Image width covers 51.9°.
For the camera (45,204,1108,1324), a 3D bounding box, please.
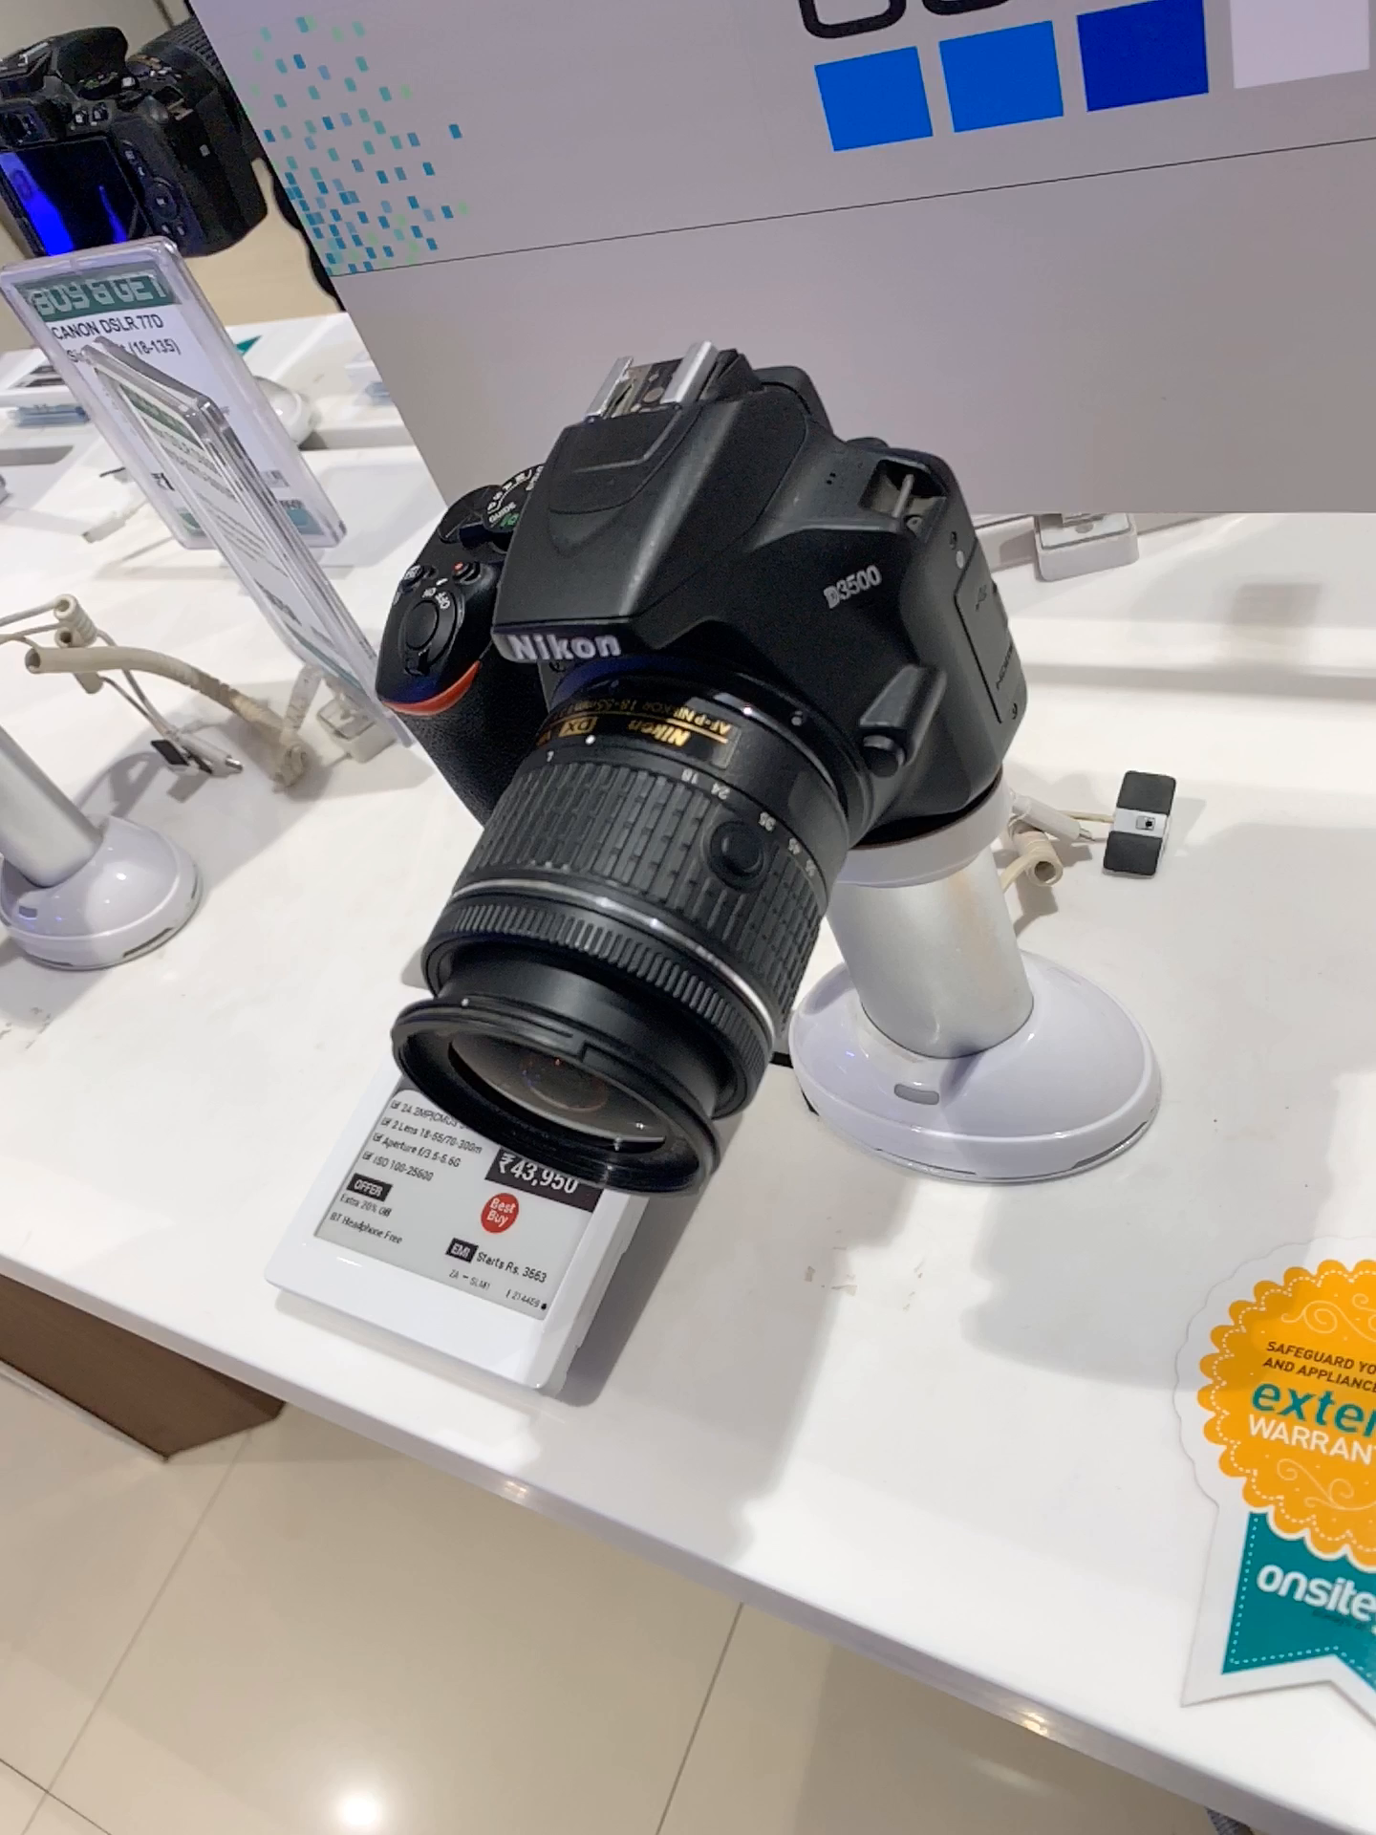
[{"bbox_3d":[-0.002,-0.036,0.272,0.120,0.090,0.180,4,53,28],"label":"camera"}]
